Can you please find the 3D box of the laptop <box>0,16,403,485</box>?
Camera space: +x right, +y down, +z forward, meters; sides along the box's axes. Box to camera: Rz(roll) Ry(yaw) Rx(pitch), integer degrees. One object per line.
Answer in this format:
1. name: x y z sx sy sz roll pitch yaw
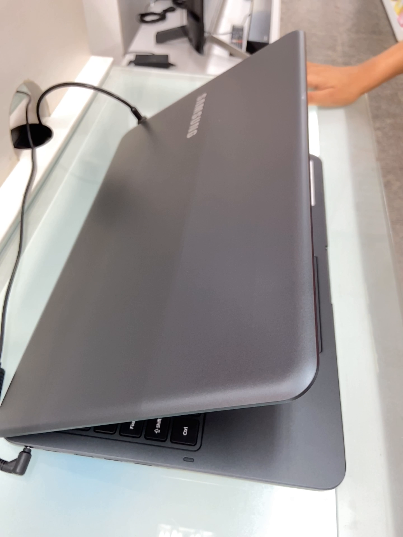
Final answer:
1. laptop: 0.003 -0.055 0.358 0.238 0.140 0.378 7 51 4
